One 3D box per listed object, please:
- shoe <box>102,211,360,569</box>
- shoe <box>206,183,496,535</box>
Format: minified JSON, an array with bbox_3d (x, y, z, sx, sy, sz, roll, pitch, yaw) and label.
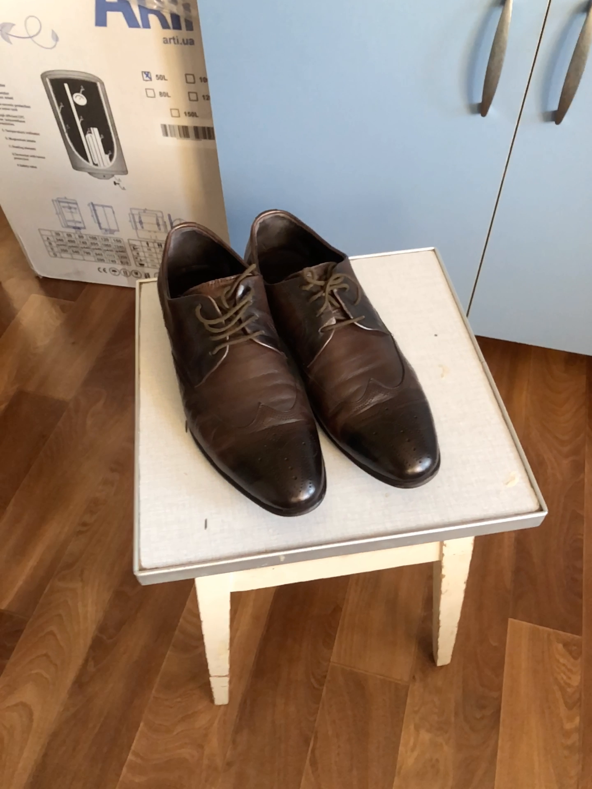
[{"bbox_3d":[-0.064,-0.019,0.549,0.100,0.099,0.291,-21,55,-14],"label":"shoe"},{"bbox_3d":[0.029,-0.045,0.549,0.100,0.099,0.291,-21,55,-14],"label":"shoe"}]
